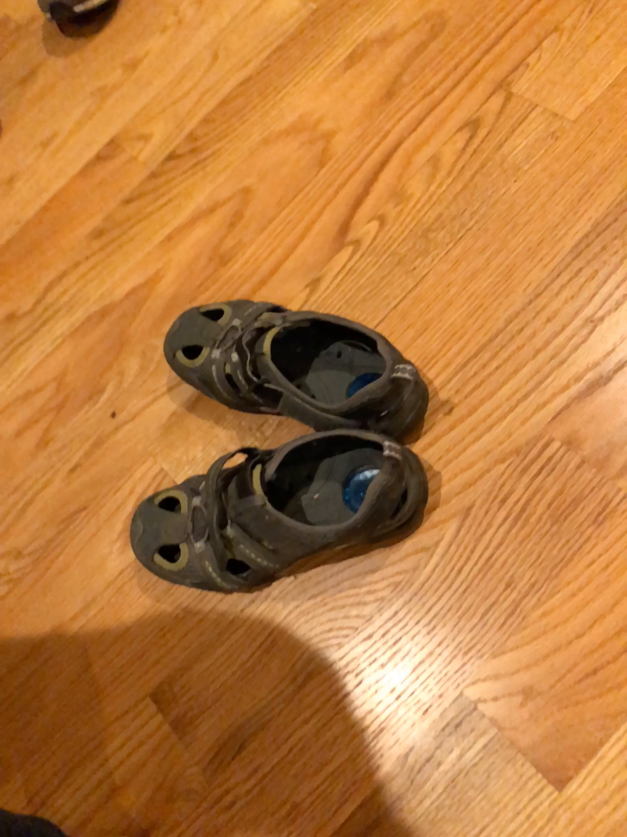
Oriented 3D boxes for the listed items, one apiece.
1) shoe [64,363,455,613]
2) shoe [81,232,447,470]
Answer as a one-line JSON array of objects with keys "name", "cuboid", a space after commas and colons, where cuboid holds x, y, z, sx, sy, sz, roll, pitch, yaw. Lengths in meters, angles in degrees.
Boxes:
[{"name": "shoe", "cuboid": [-0.038, 0.060, 0.494, 0.245, 0.113, 0.100, -14, 65, 13]}, {"name": "shoe", "cuboid": [-0.035, -0.055, 0.542, 0.245, 0.113, 0.100, 15, 75, 23]}]
